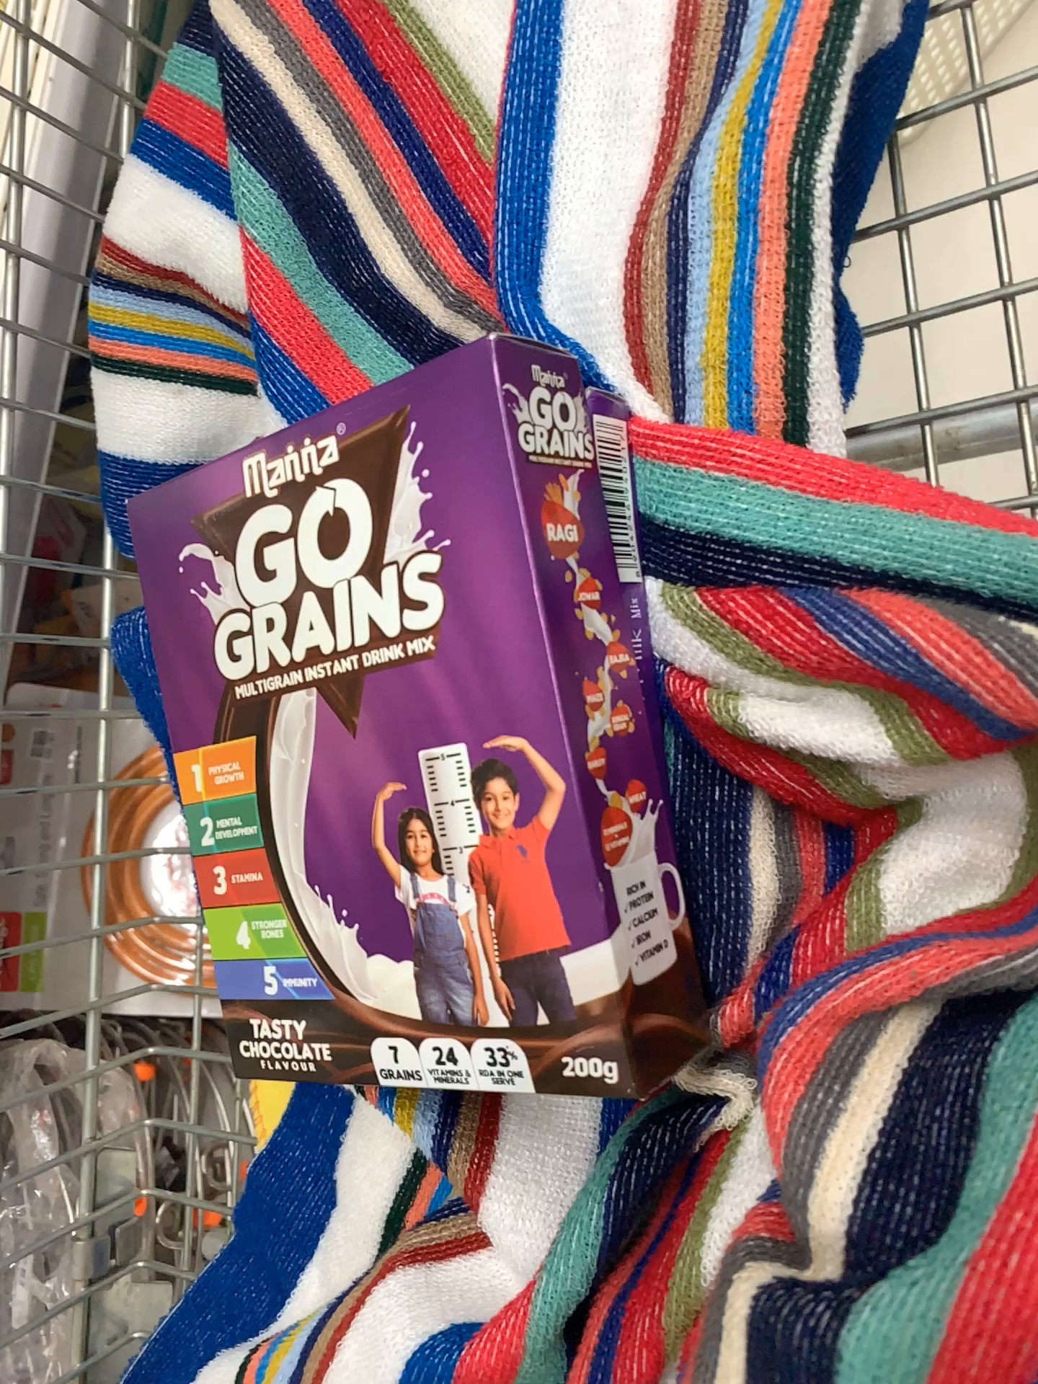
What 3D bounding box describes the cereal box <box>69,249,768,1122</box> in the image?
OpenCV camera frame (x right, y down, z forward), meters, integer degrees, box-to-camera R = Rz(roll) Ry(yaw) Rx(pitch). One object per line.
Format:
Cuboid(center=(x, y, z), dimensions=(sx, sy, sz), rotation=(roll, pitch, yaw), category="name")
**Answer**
Cuboid(center=(-0.030, 0.008, 0.263), dimensions=(0.141, 0.050, 0.170), rotation=(-11, 91, 33), category="cereal box")
